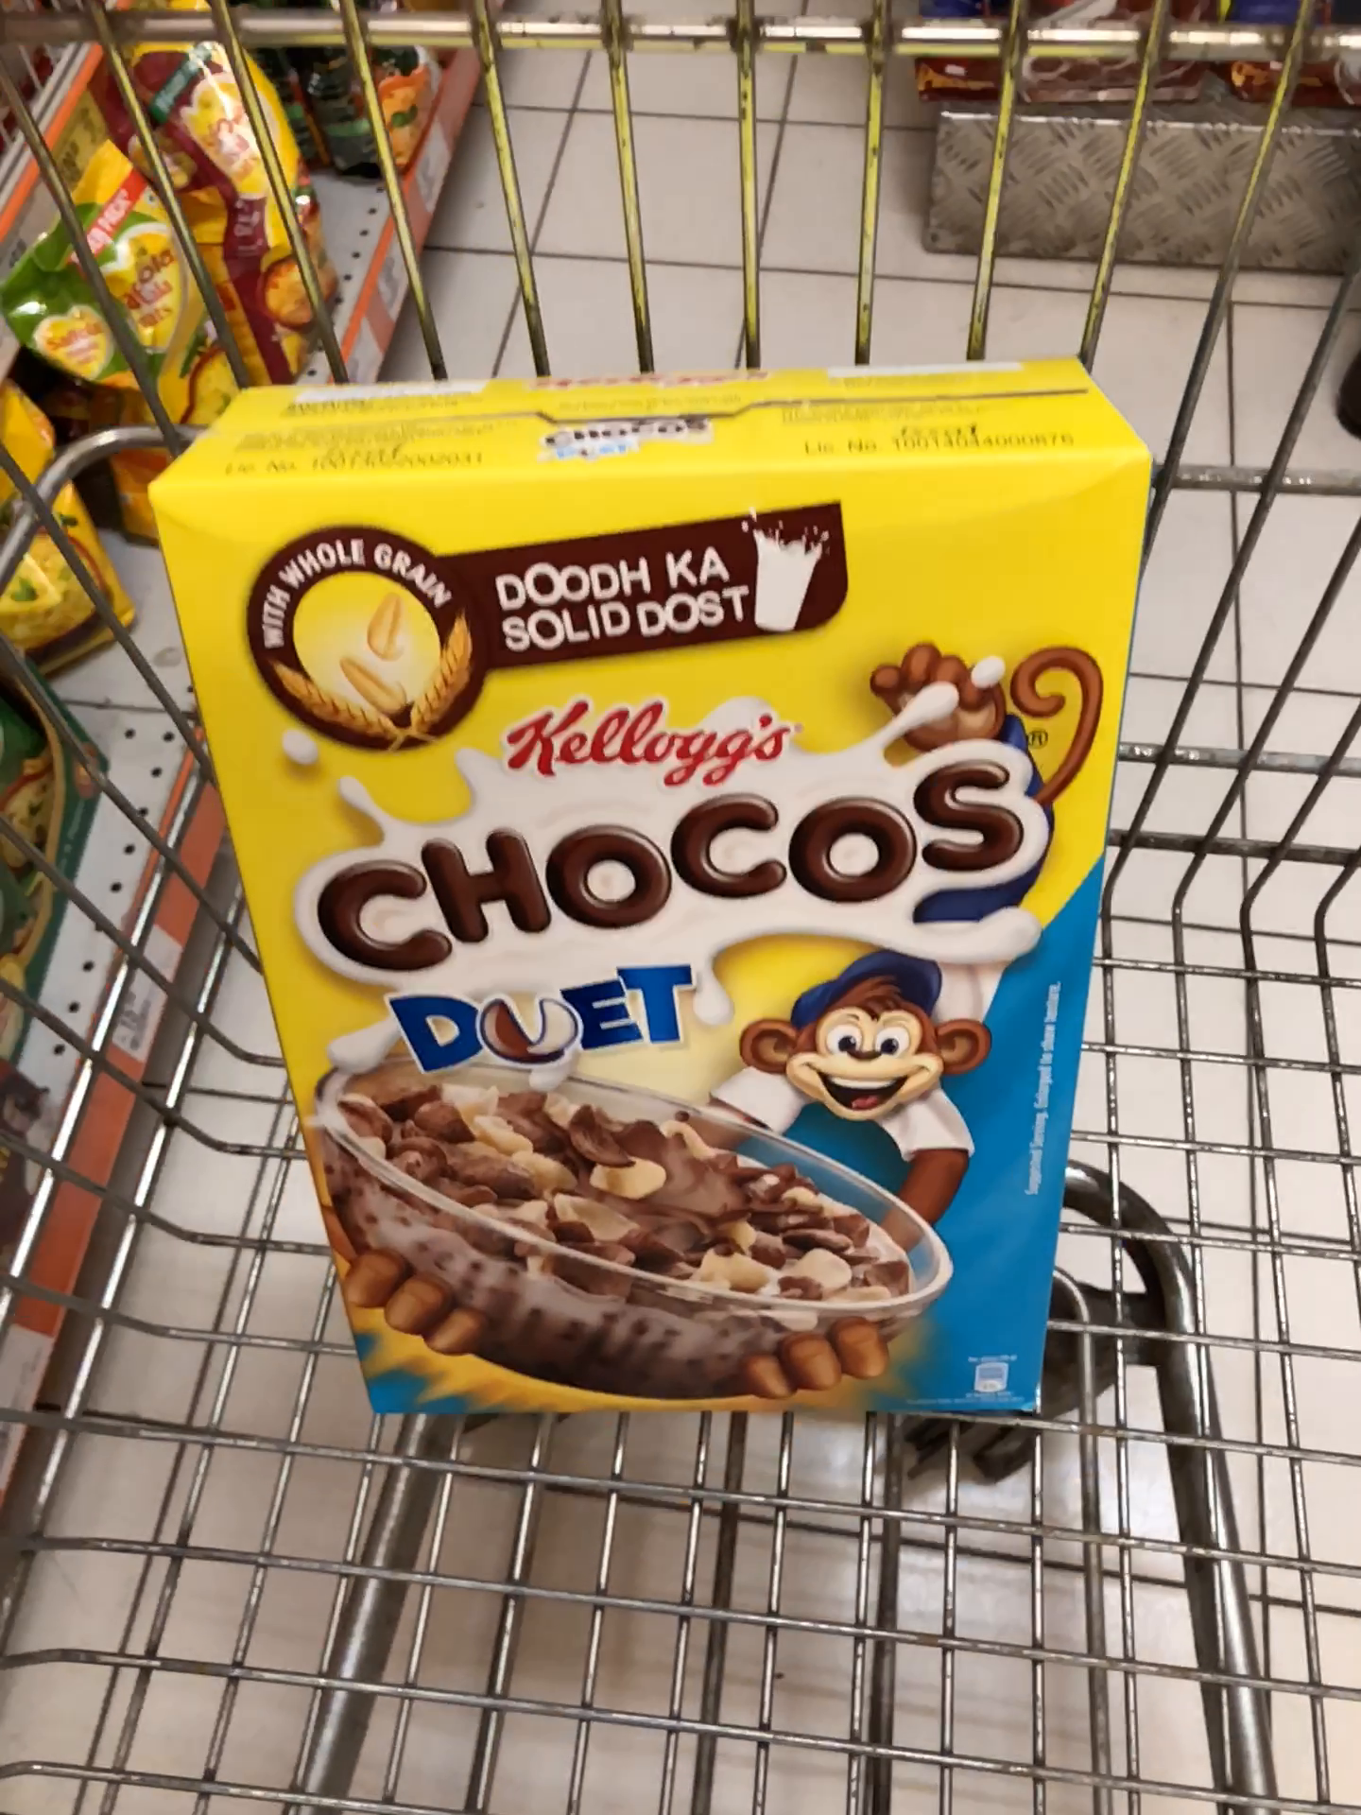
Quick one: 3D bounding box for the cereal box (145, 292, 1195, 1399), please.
[{"bbox_3d":[0.003,0.002,0.358,0.180,0.259,0.070,-1,33,3],"label":"cereal box"}]
